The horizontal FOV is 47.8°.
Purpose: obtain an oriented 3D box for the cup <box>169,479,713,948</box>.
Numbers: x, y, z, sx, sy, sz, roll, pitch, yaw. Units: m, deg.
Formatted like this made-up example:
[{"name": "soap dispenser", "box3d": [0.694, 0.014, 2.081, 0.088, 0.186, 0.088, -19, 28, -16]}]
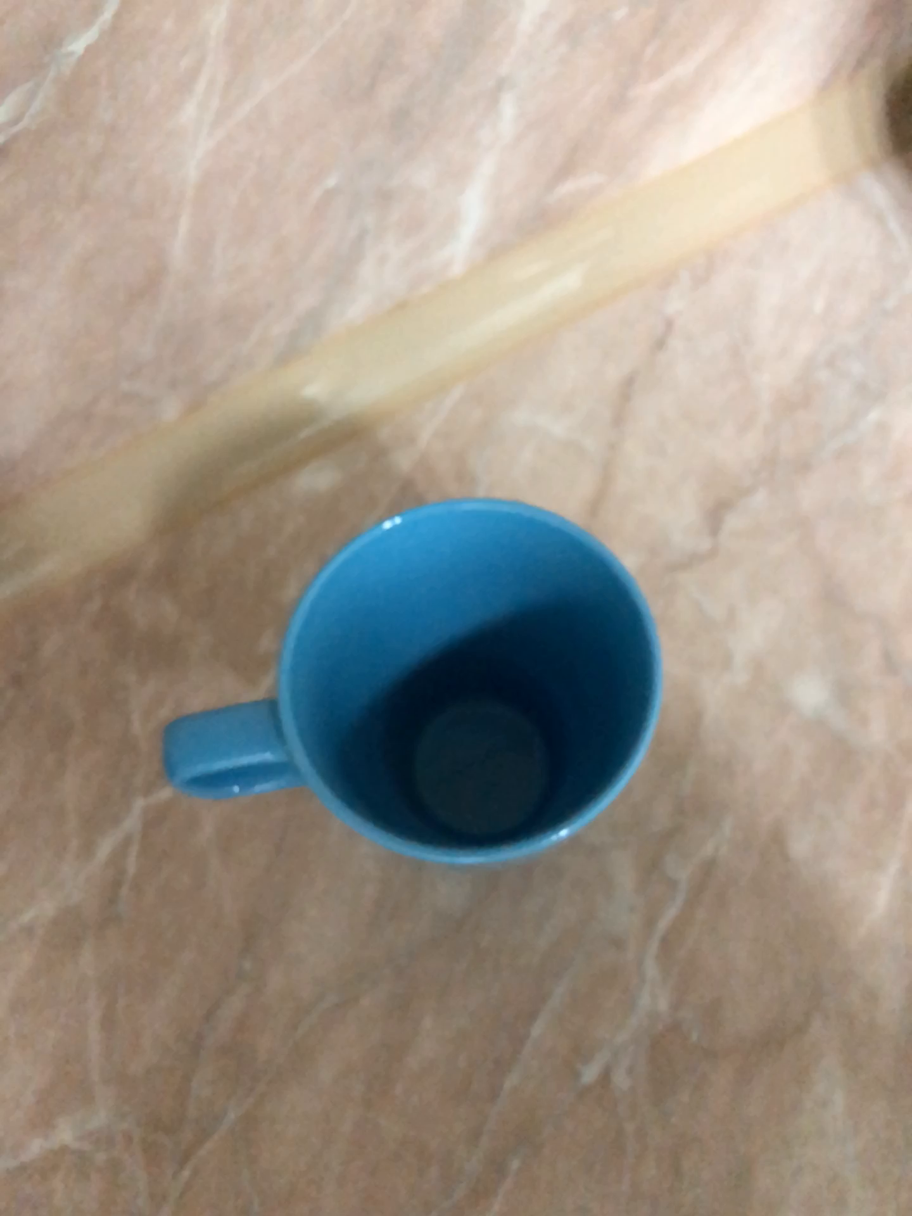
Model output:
[{"name": "cup", "box3d": [-0.005, 0.033, 0.266, 0.111, 0.090, 0.086, -7, 67, 0]}]
